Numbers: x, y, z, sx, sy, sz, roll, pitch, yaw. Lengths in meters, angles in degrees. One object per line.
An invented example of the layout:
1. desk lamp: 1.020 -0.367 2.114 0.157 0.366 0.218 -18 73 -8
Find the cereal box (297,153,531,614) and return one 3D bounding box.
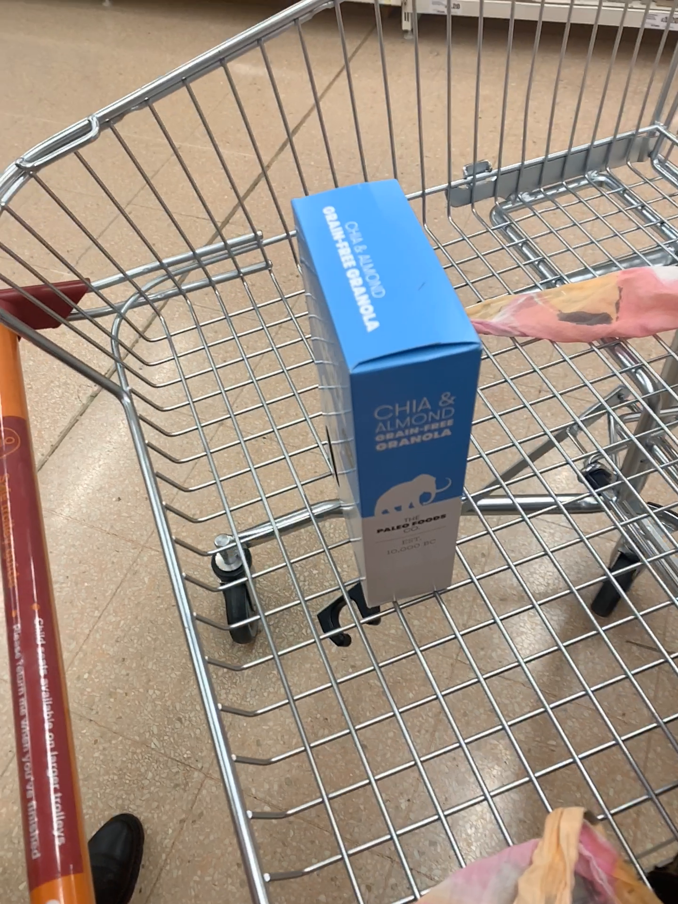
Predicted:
1. cereal box: 0.032 -0.024 0.379 0.060 0.208 0.141 -13 54 -5
